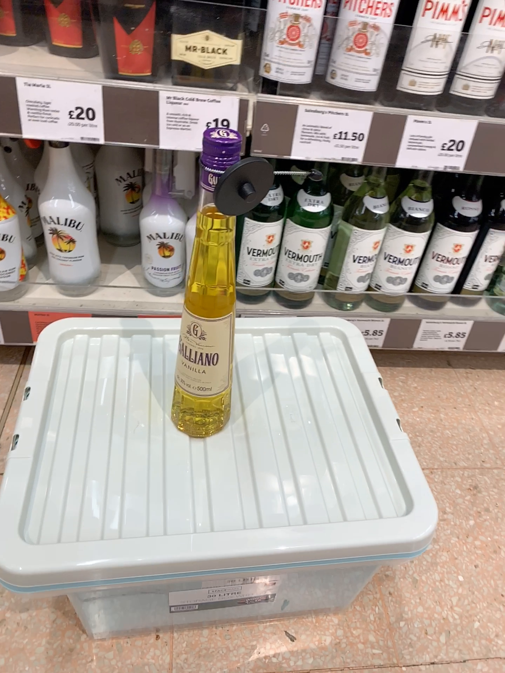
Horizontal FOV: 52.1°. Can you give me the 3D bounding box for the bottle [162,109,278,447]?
[{"bbox_3d":[-0.043,-0.032,0.520,0.072,0.347,0.071,5,41,-4],"label":"bottle"}]
